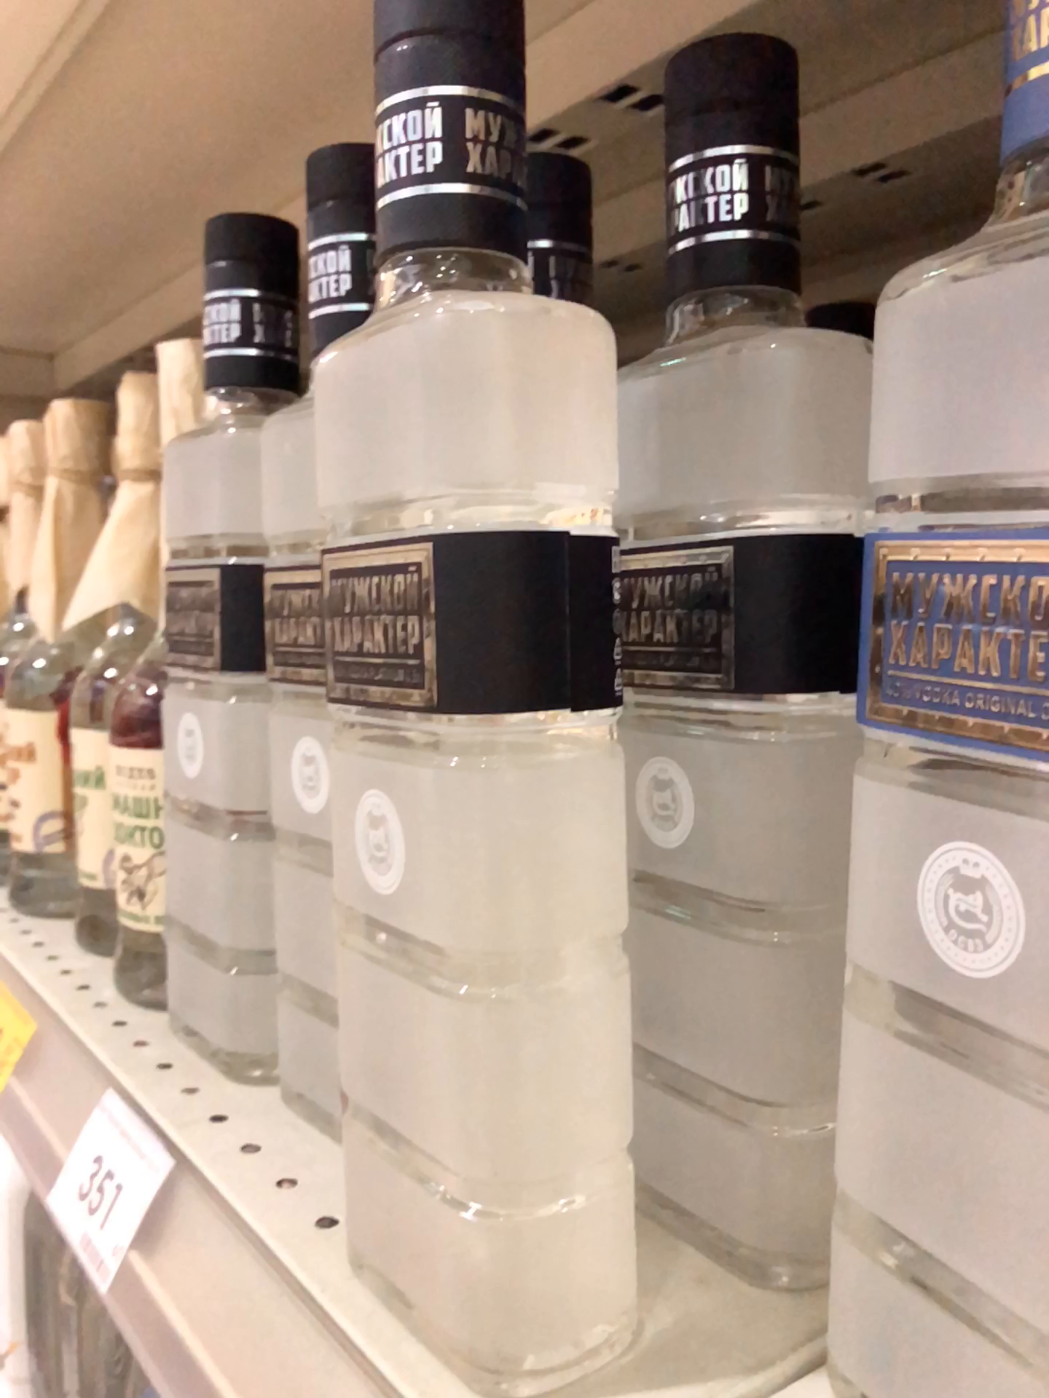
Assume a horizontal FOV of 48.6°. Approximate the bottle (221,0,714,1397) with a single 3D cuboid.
[{"bbox_3d":[-0.014,-0.009,0.256,0.060,0.290,0.090,-5,6,-35],"label":"bottle"}]
